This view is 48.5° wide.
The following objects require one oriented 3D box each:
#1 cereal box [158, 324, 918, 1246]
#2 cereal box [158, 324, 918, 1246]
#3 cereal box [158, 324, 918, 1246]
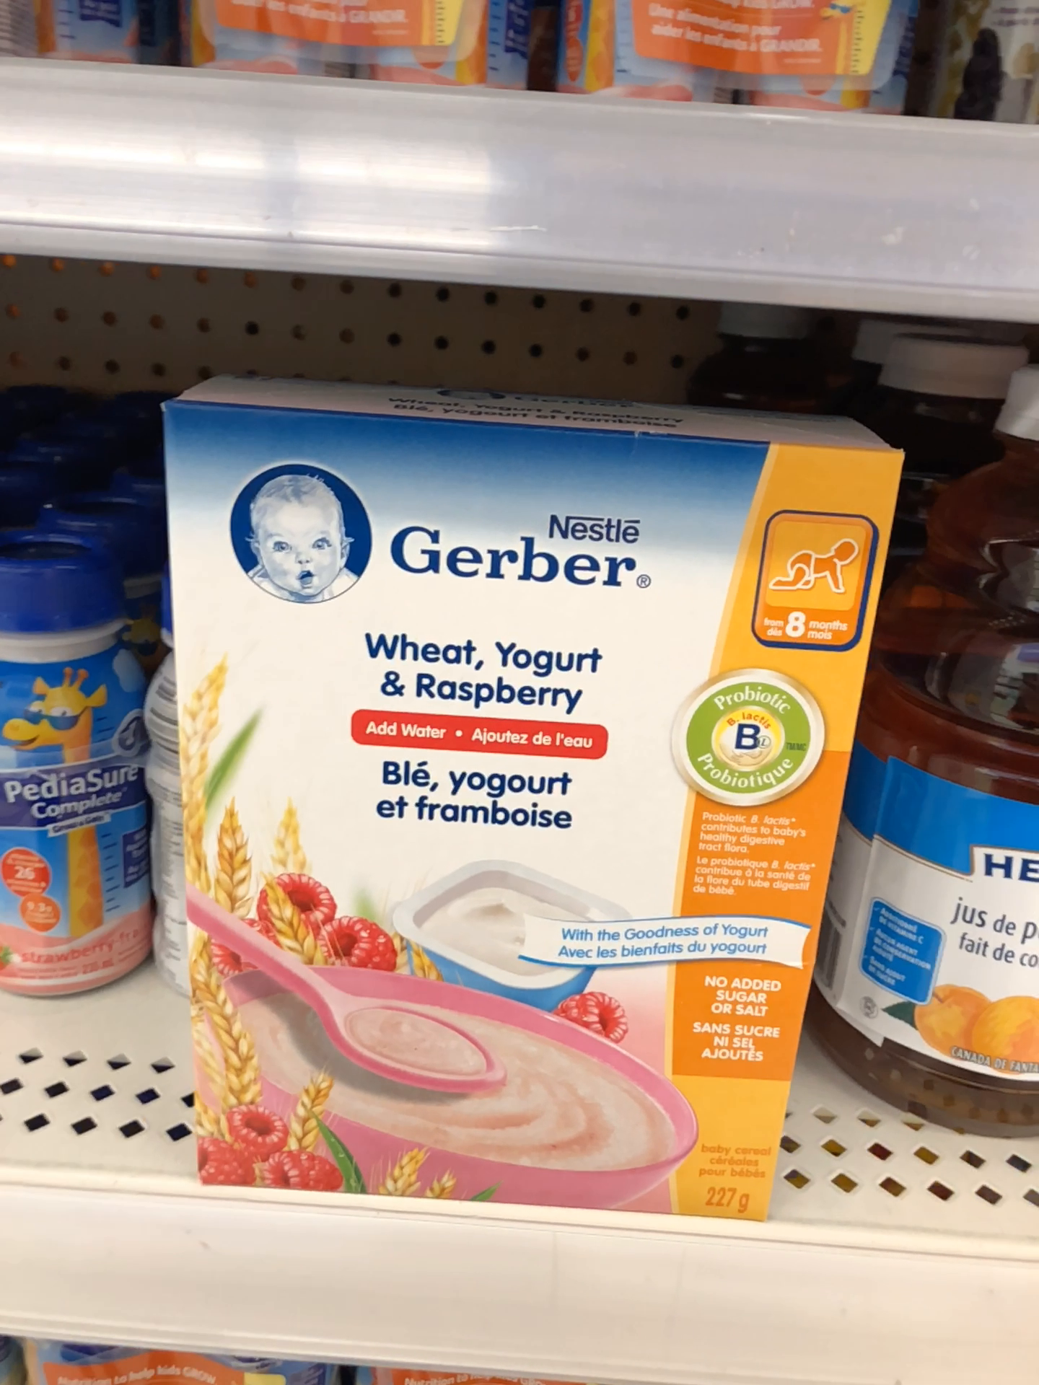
[{"bbox_3d":[-0.004,0.025,0.268,0.140,0.199,0.050,5,19,0],"label":"cereal box"},{"bbox_3d":[-0.004,0.025,0.268,0.140,0.199,0.050,5,19,0],"label":"cereal box"},{"bbox_3d":[-0.004,0.025,0.268,0.140,0.199,0.050,5,19,0],"label":"cereal box"}]
